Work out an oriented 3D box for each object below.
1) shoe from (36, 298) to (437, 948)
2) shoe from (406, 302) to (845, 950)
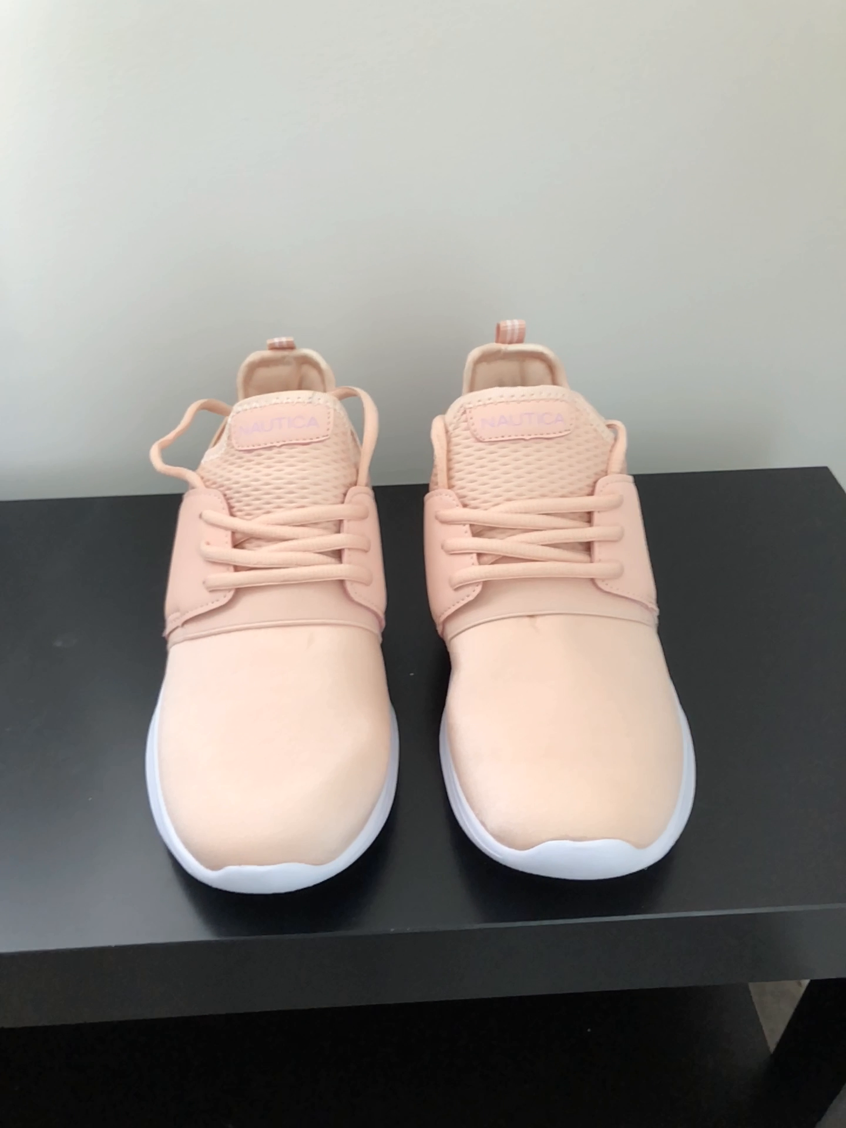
[{"bbox_3d":[-0.053,0.000,0.367,0.100,0.110,0.251,-2,39,-3],"label":"shoe"},{"bbox_3d":[0.049,0.003,0.359,0.100,0.110,0.241,-2,39,-3],"label":"shoe"}]
